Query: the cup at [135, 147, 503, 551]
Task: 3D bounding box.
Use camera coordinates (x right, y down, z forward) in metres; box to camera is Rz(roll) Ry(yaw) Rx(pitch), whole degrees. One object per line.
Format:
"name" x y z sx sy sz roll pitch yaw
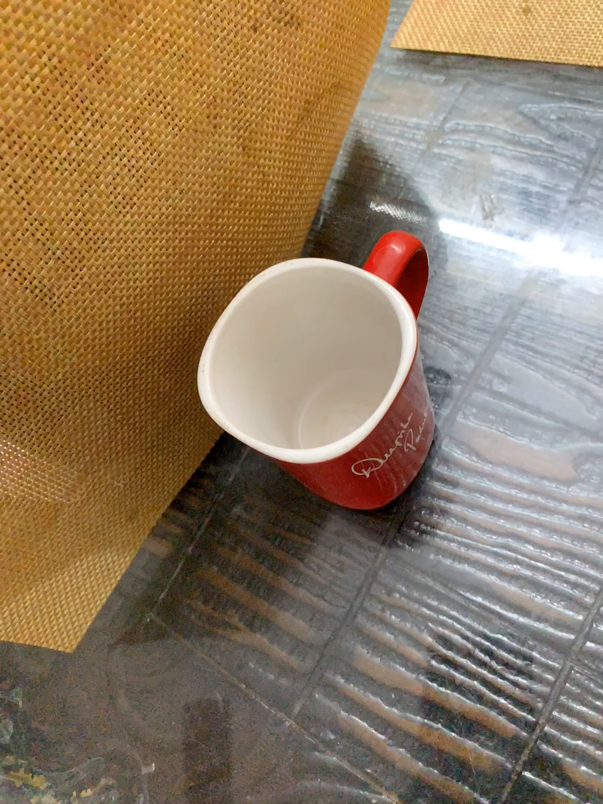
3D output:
"cup" 0.014 -0.015 0.224 0.070 0.080 0.100 29 80 26
